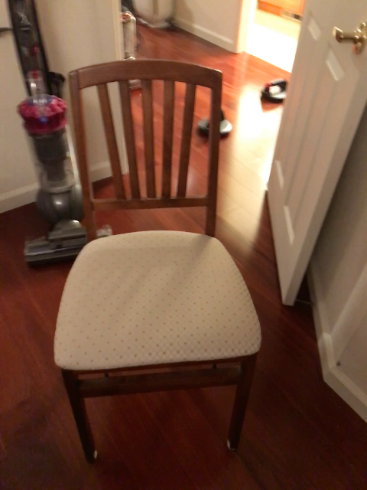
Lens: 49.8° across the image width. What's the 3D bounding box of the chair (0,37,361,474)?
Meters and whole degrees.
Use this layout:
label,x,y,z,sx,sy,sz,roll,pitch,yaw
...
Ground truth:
label,x,y,z,sx,sy,sz,roll,pitch,yaw
chair,-0.067,0.069,0.981,0.500,0.923,0.564,-2,42,-5
